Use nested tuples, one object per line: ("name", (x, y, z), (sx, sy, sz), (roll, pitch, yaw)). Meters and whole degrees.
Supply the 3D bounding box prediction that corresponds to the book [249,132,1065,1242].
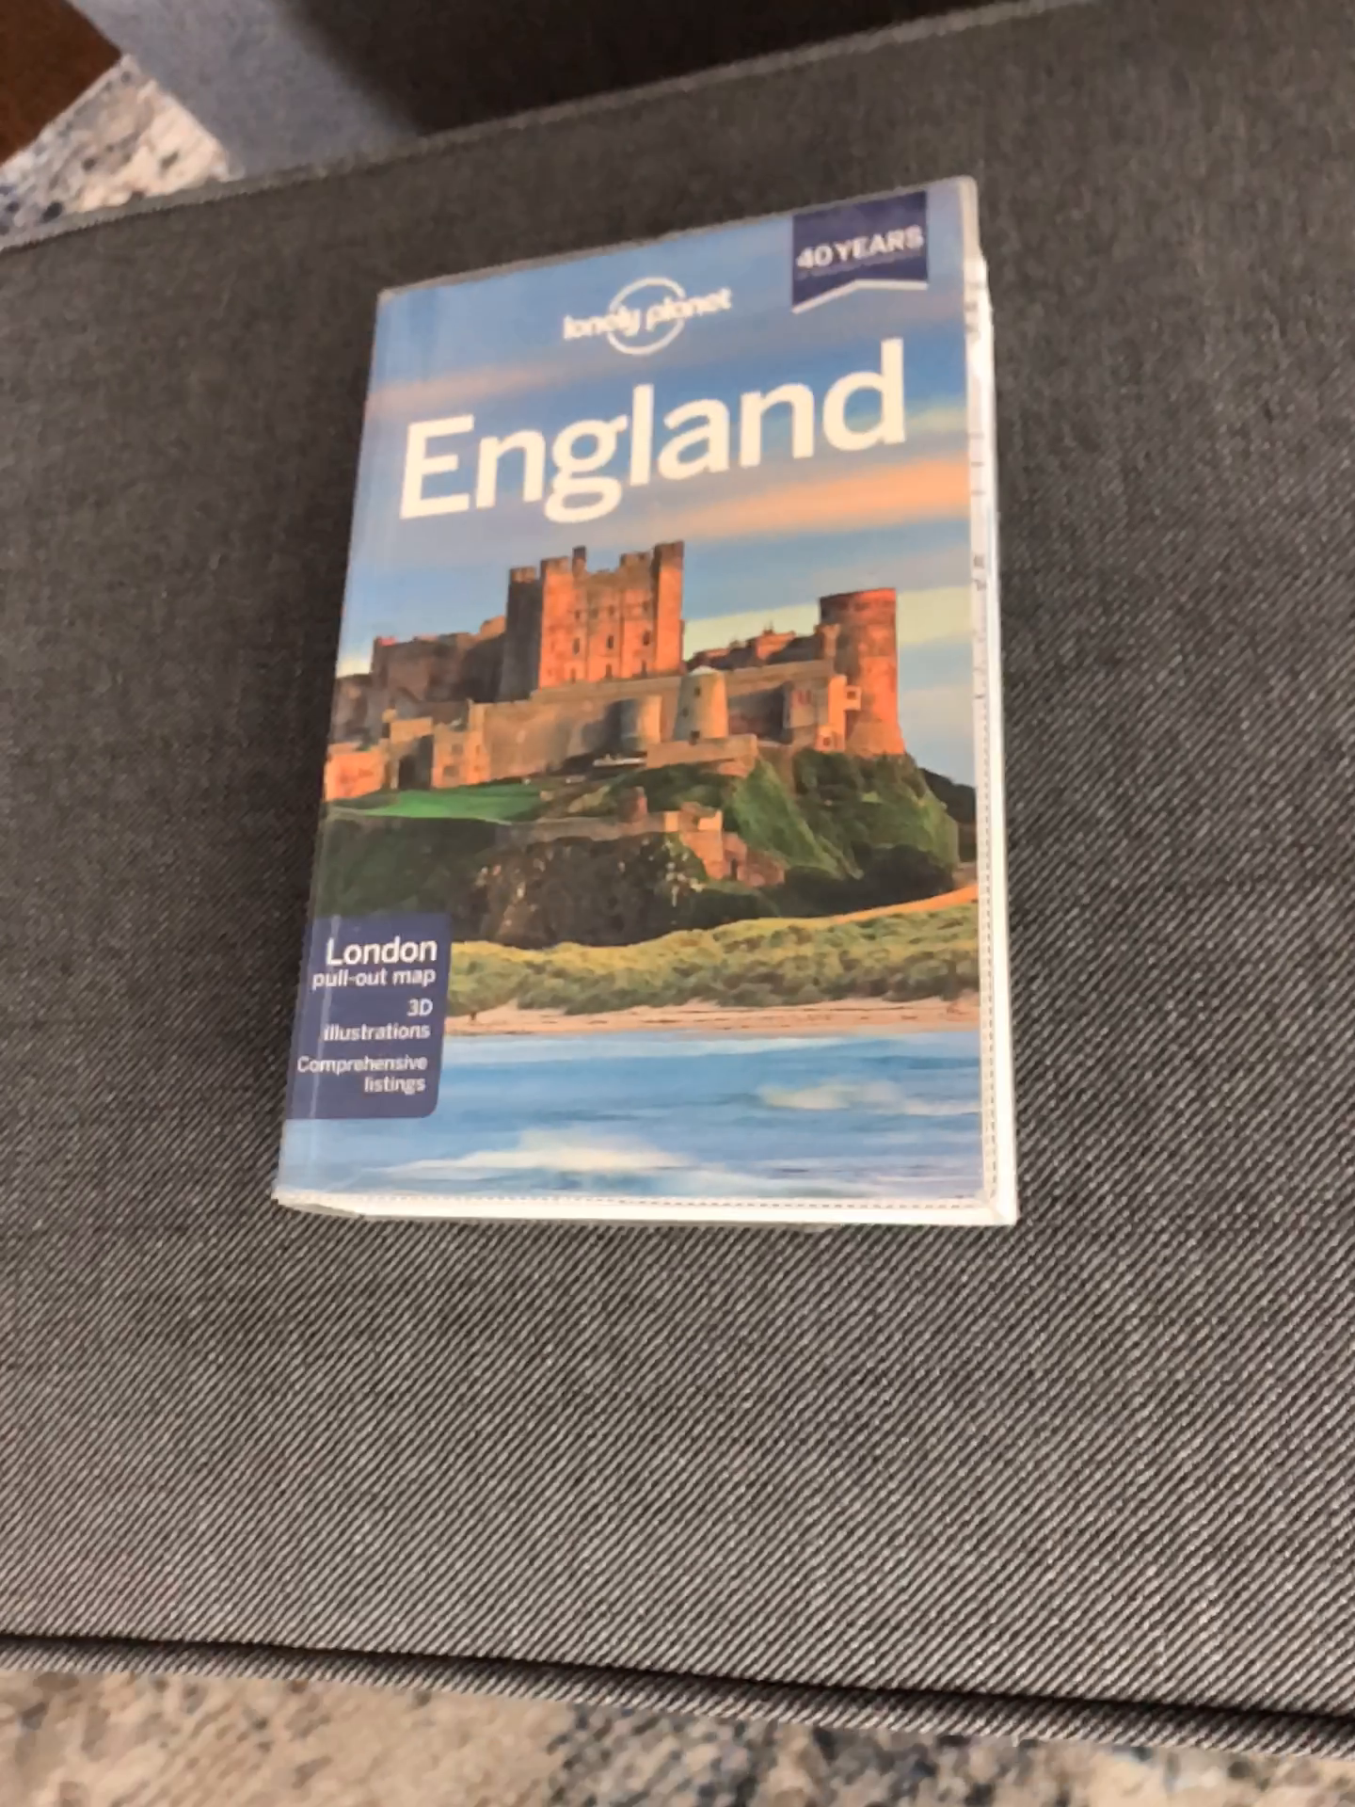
("book", (-0.001, -0.039, 0.294), (0.136, 0.040, 0.200), (-5, 70, 19))
